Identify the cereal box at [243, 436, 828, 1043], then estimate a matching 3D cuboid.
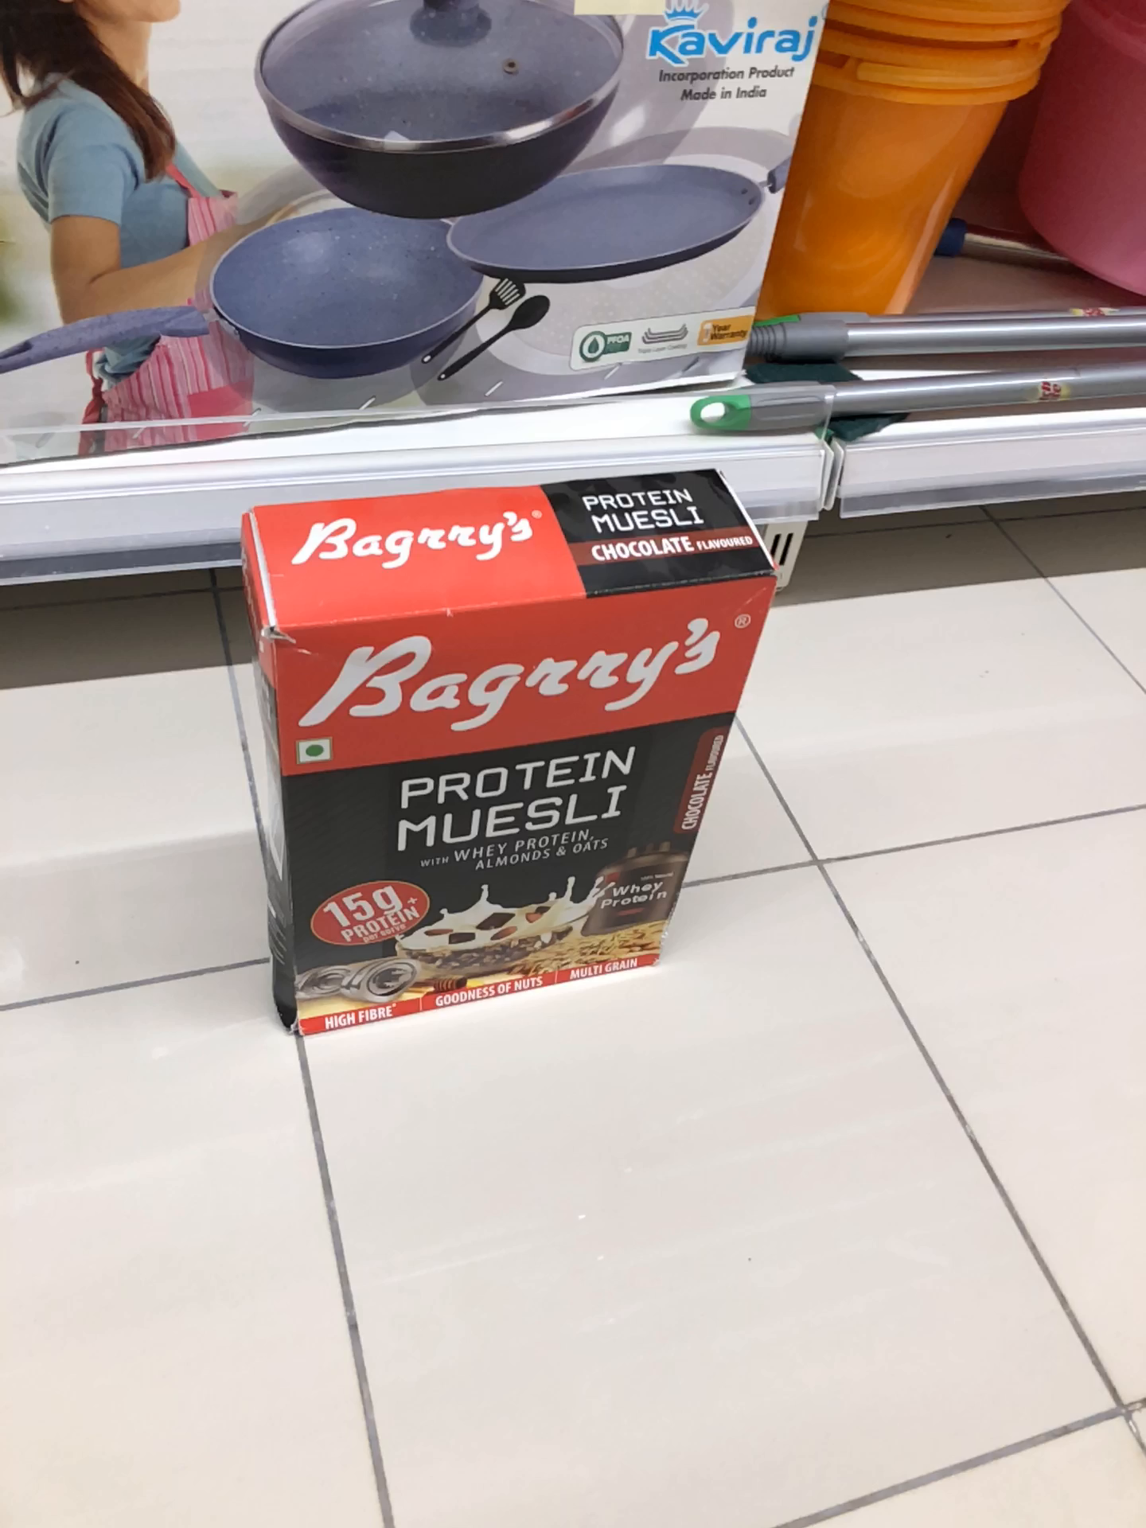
[{"bbox_3d":[-0.026,-0.003,0.522,0.190,0.239,0.080,-8,47,-17],"label":"cereal box"}]
